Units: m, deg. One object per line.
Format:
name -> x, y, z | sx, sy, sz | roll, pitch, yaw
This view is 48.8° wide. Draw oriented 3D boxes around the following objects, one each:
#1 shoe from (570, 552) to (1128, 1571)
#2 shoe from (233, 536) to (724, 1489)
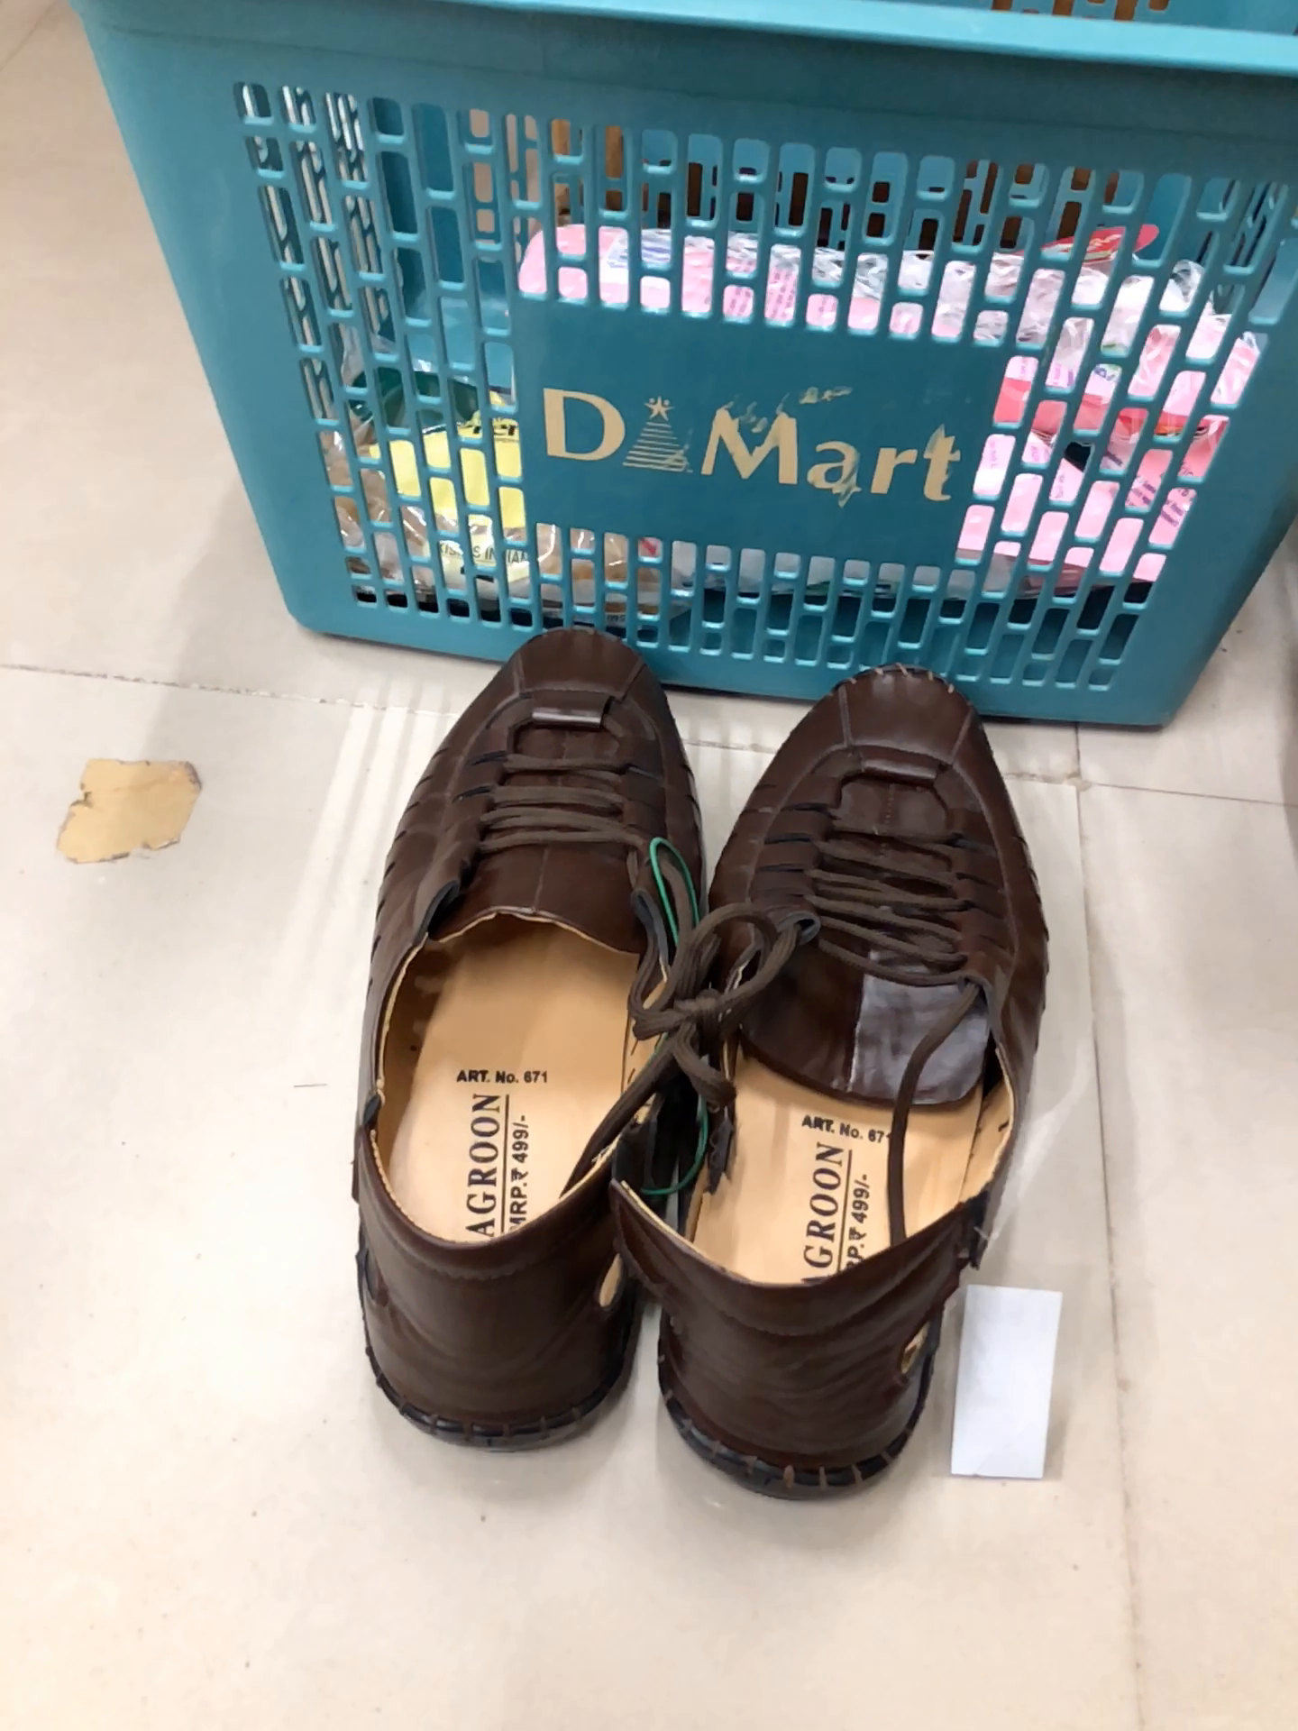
shoe -> 0.068, 0.043, 0.432 | 0.112, 0.101, 0.273 | 12, 54, 7
shoe -> -0.035, 0.032, 0.439 | 0.107, 0.101, 0.273 | 3, 54, 0
